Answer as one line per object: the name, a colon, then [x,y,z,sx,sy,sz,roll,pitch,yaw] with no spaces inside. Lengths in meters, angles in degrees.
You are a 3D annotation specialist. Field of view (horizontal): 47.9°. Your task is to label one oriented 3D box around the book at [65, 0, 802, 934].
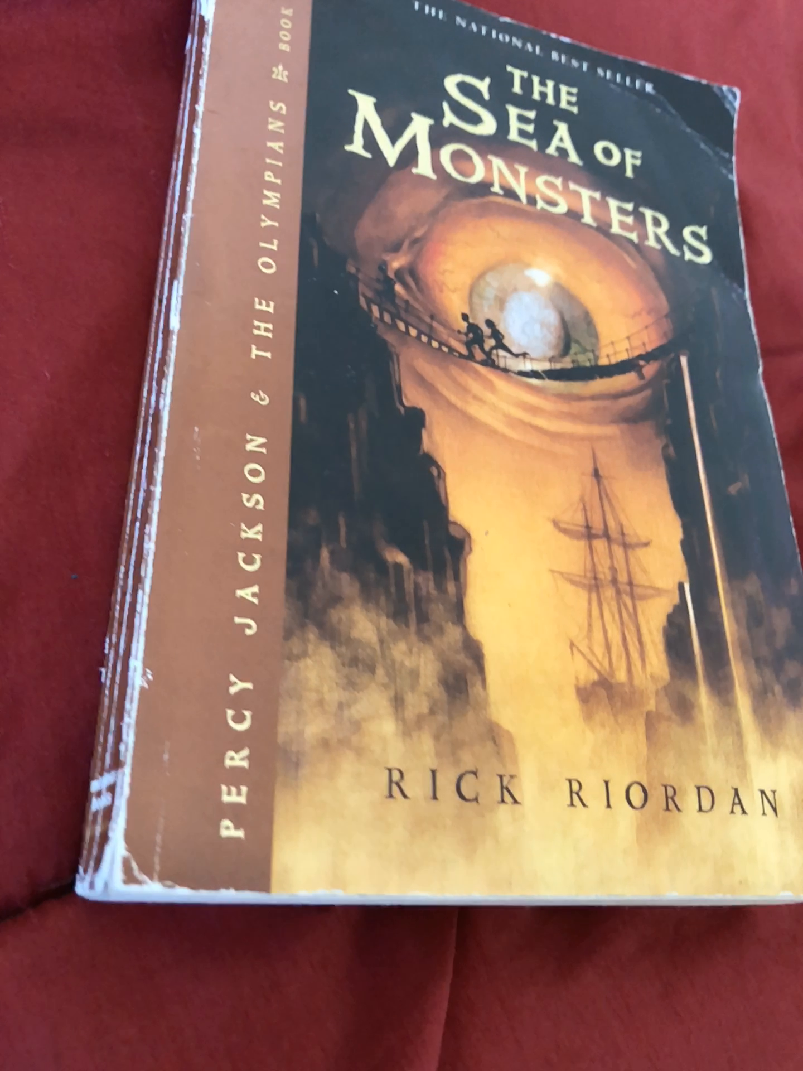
book: [0.025,-0.028,0.182,0.145,0.030,0.197,9,67,-20]
